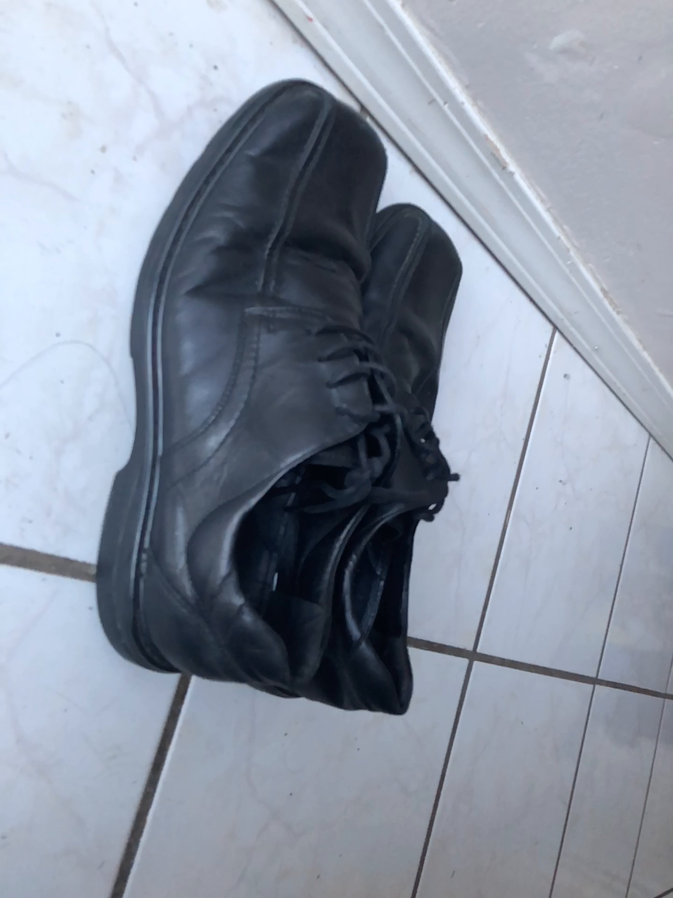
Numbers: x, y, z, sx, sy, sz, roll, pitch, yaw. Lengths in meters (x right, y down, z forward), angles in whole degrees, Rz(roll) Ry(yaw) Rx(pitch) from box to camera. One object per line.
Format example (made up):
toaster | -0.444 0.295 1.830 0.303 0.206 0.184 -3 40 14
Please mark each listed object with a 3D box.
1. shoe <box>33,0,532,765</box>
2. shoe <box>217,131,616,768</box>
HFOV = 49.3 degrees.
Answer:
shoe | -0.014 -0.032 0.325 0.121 0.099 0.290 20 81 -49
shoe | 0.051 0.001 0.392 0.111 0.099 0.290 25 77 -48
